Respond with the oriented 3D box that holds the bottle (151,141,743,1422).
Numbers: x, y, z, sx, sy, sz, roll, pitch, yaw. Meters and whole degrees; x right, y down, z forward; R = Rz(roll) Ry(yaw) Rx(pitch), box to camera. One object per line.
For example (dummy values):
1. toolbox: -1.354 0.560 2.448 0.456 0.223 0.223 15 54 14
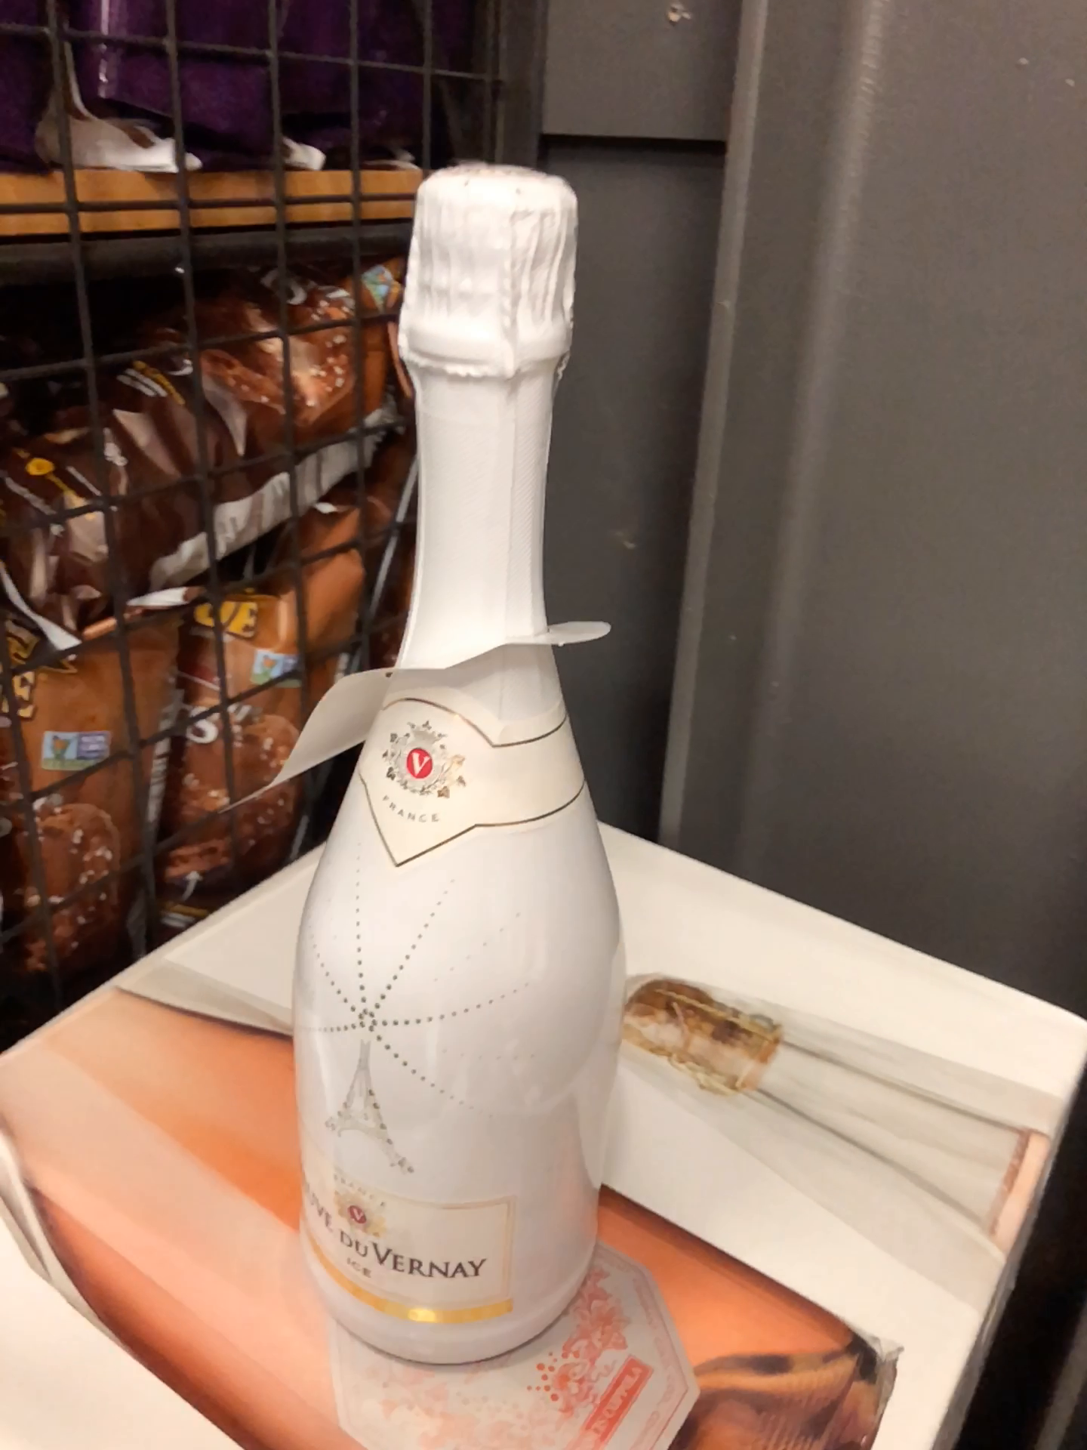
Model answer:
1. bottle: -0.022 0.022 0.316 0.086 0.310 0.094 2 25 -1
